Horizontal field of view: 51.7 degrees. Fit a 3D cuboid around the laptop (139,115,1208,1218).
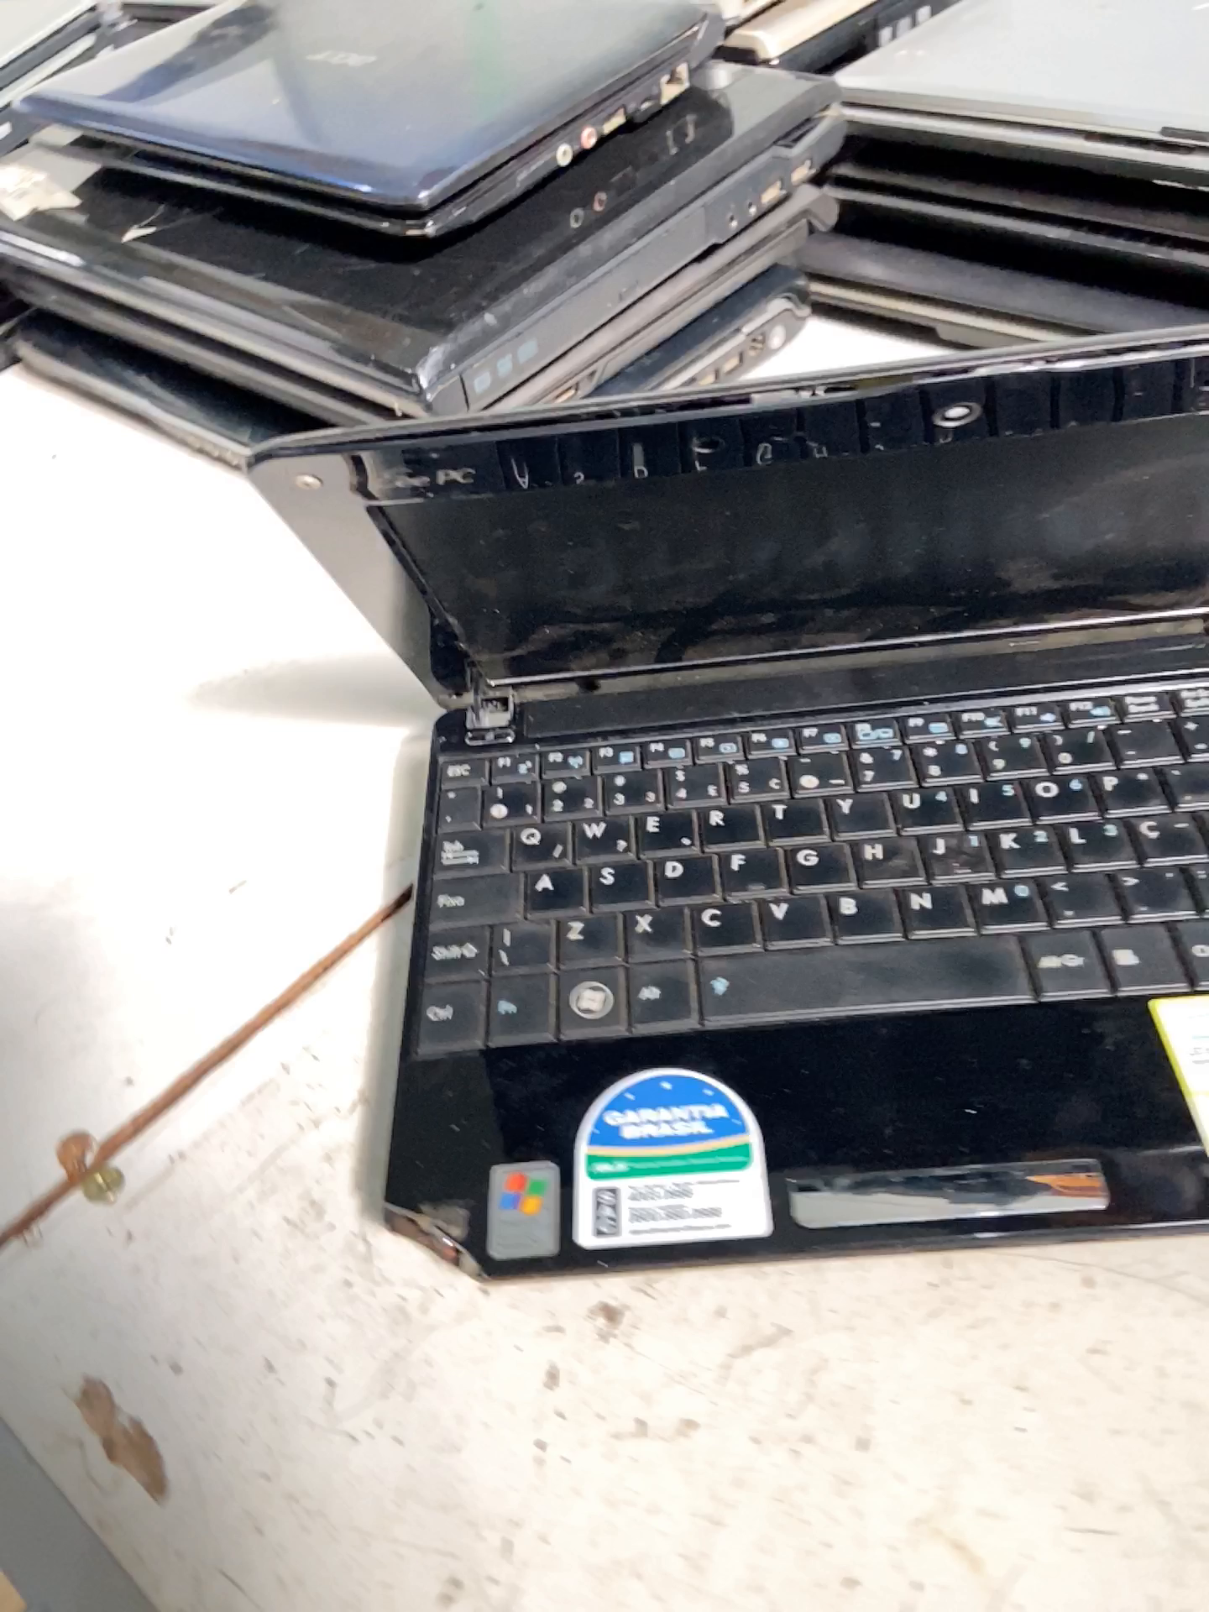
[{"bbox_3d":[0.070,-0.030,0.272,0.262,0.137,0.168,-5,45,5],"label":"laptop"}]
